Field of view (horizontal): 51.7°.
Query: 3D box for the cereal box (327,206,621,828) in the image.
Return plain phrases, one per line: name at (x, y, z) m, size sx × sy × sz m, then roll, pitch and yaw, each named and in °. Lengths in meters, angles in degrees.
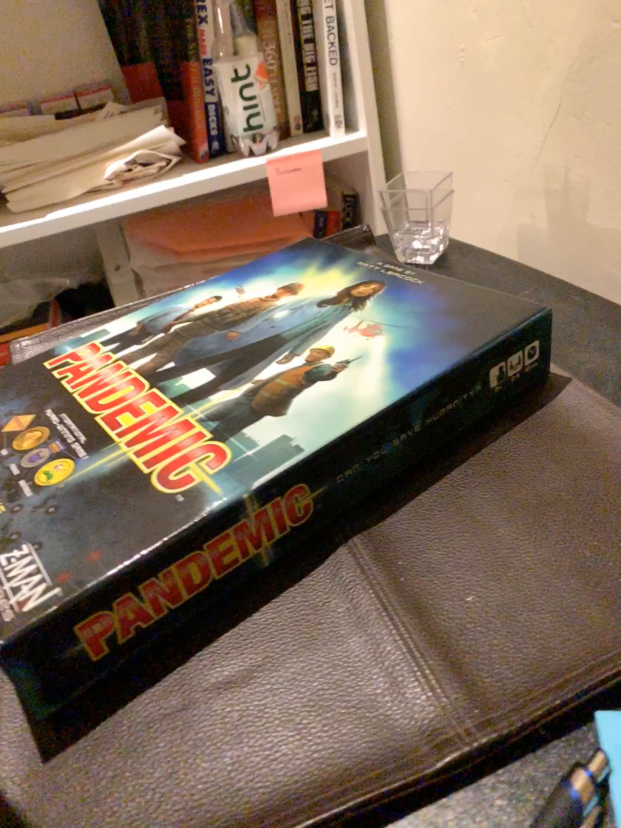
cereal box at (0.427, 0.226, 1.140) m, size 0.471 × 0.993 × 0.512 m, roll 5°, pitch 37°, yaw 25°
